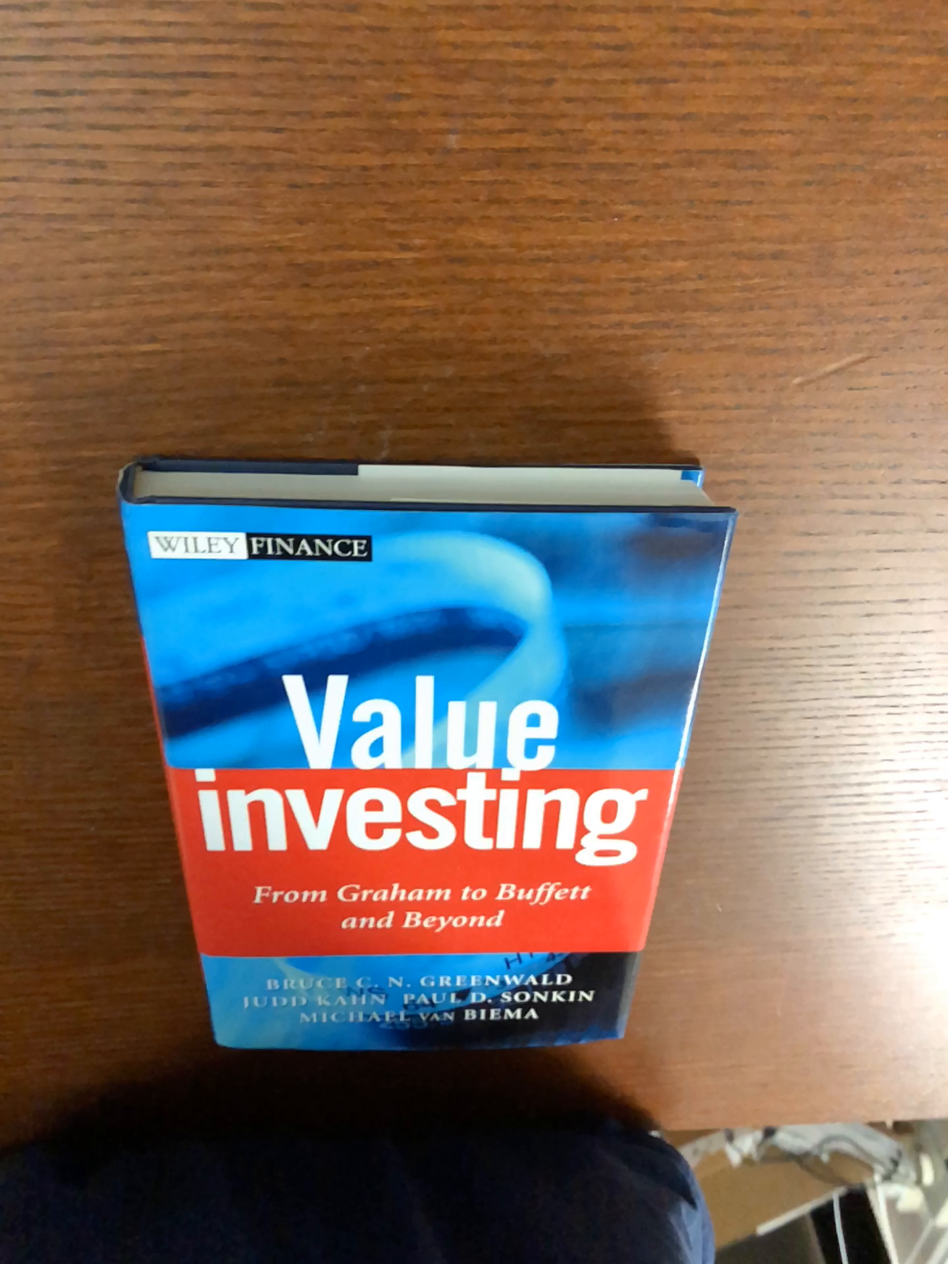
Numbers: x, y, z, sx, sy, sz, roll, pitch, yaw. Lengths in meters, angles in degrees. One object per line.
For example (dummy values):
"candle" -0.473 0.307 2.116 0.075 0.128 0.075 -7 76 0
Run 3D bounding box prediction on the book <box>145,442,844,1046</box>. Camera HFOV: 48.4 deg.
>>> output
"book" 0.000 0.053 0.331 0.170 0.020 0.231 1 126 -4
